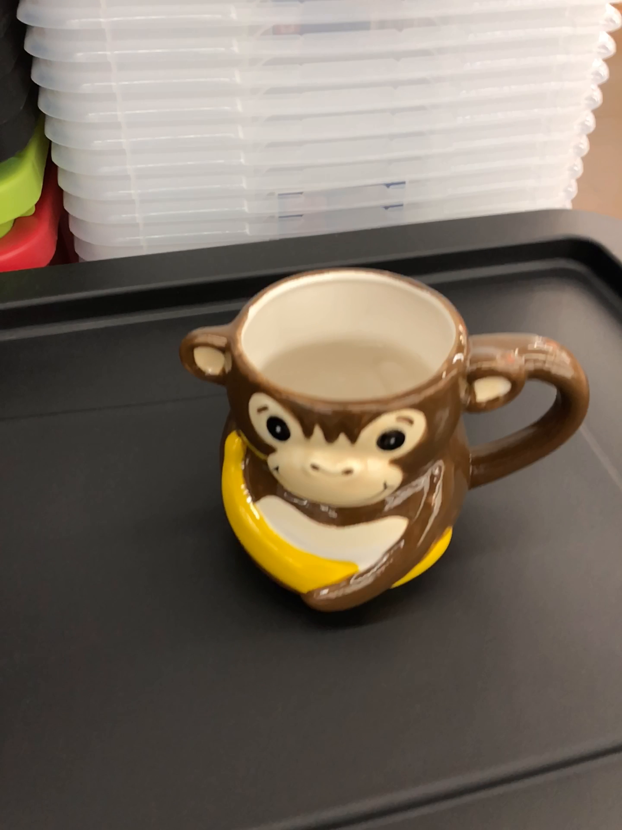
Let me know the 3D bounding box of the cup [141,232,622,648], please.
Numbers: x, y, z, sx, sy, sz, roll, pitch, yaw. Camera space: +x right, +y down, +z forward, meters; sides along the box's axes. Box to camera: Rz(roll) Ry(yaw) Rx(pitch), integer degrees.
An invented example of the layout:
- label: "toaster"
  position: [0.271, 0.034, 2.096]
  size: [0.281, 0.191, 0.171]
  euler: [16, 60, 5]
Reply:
- label: "cup"
  position: [0.035, 0.006, 0.249]
  size: [0.160, 0.100, 0.110]
  euler: [0, 42, -2]
